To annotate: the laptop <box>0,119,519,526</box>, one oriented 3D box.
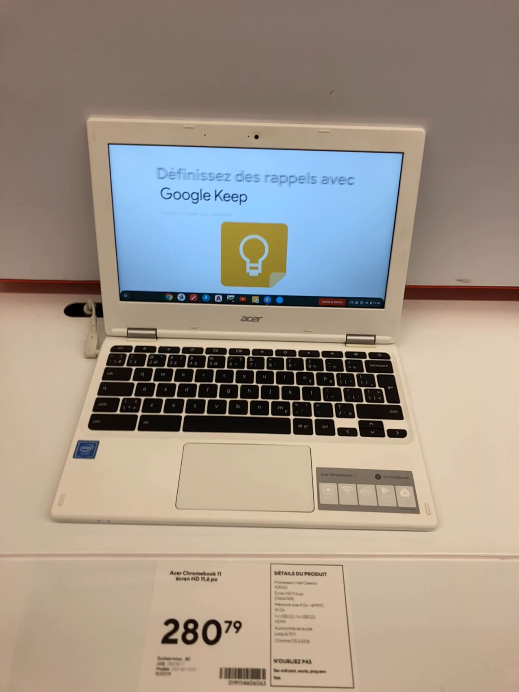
[{"bbox_3d":[-0.008,-0.028,0.449,0.282,0.188,0.260,1,44,0],"label":"laptop"}]
